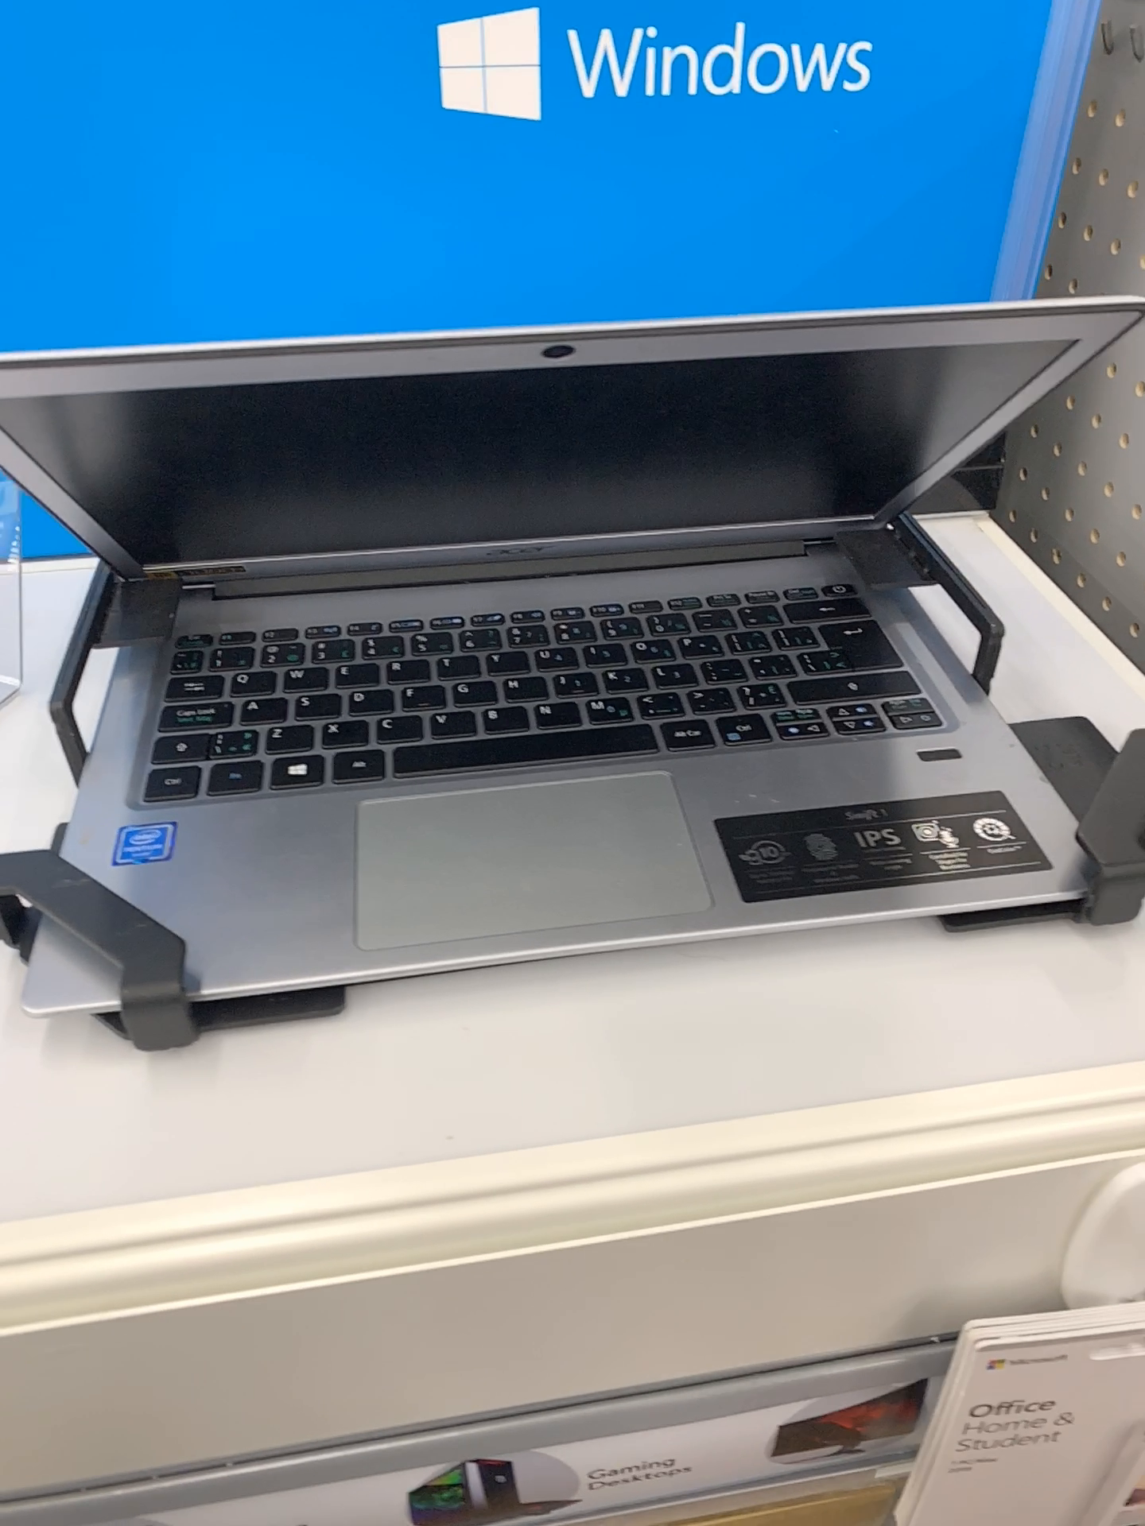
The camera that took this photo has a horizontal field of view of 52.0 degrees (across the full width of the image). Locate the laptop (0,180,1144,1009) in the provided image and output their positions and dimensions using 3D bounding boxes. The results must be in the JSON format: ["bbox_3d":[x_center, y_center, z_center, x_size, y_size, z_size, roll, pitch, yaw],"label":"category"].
[{"bbox_3d":[-0.008,-0.068,0.360,0.307,0.140,0.198,-5,40,-6],"label":"laptop"}]
